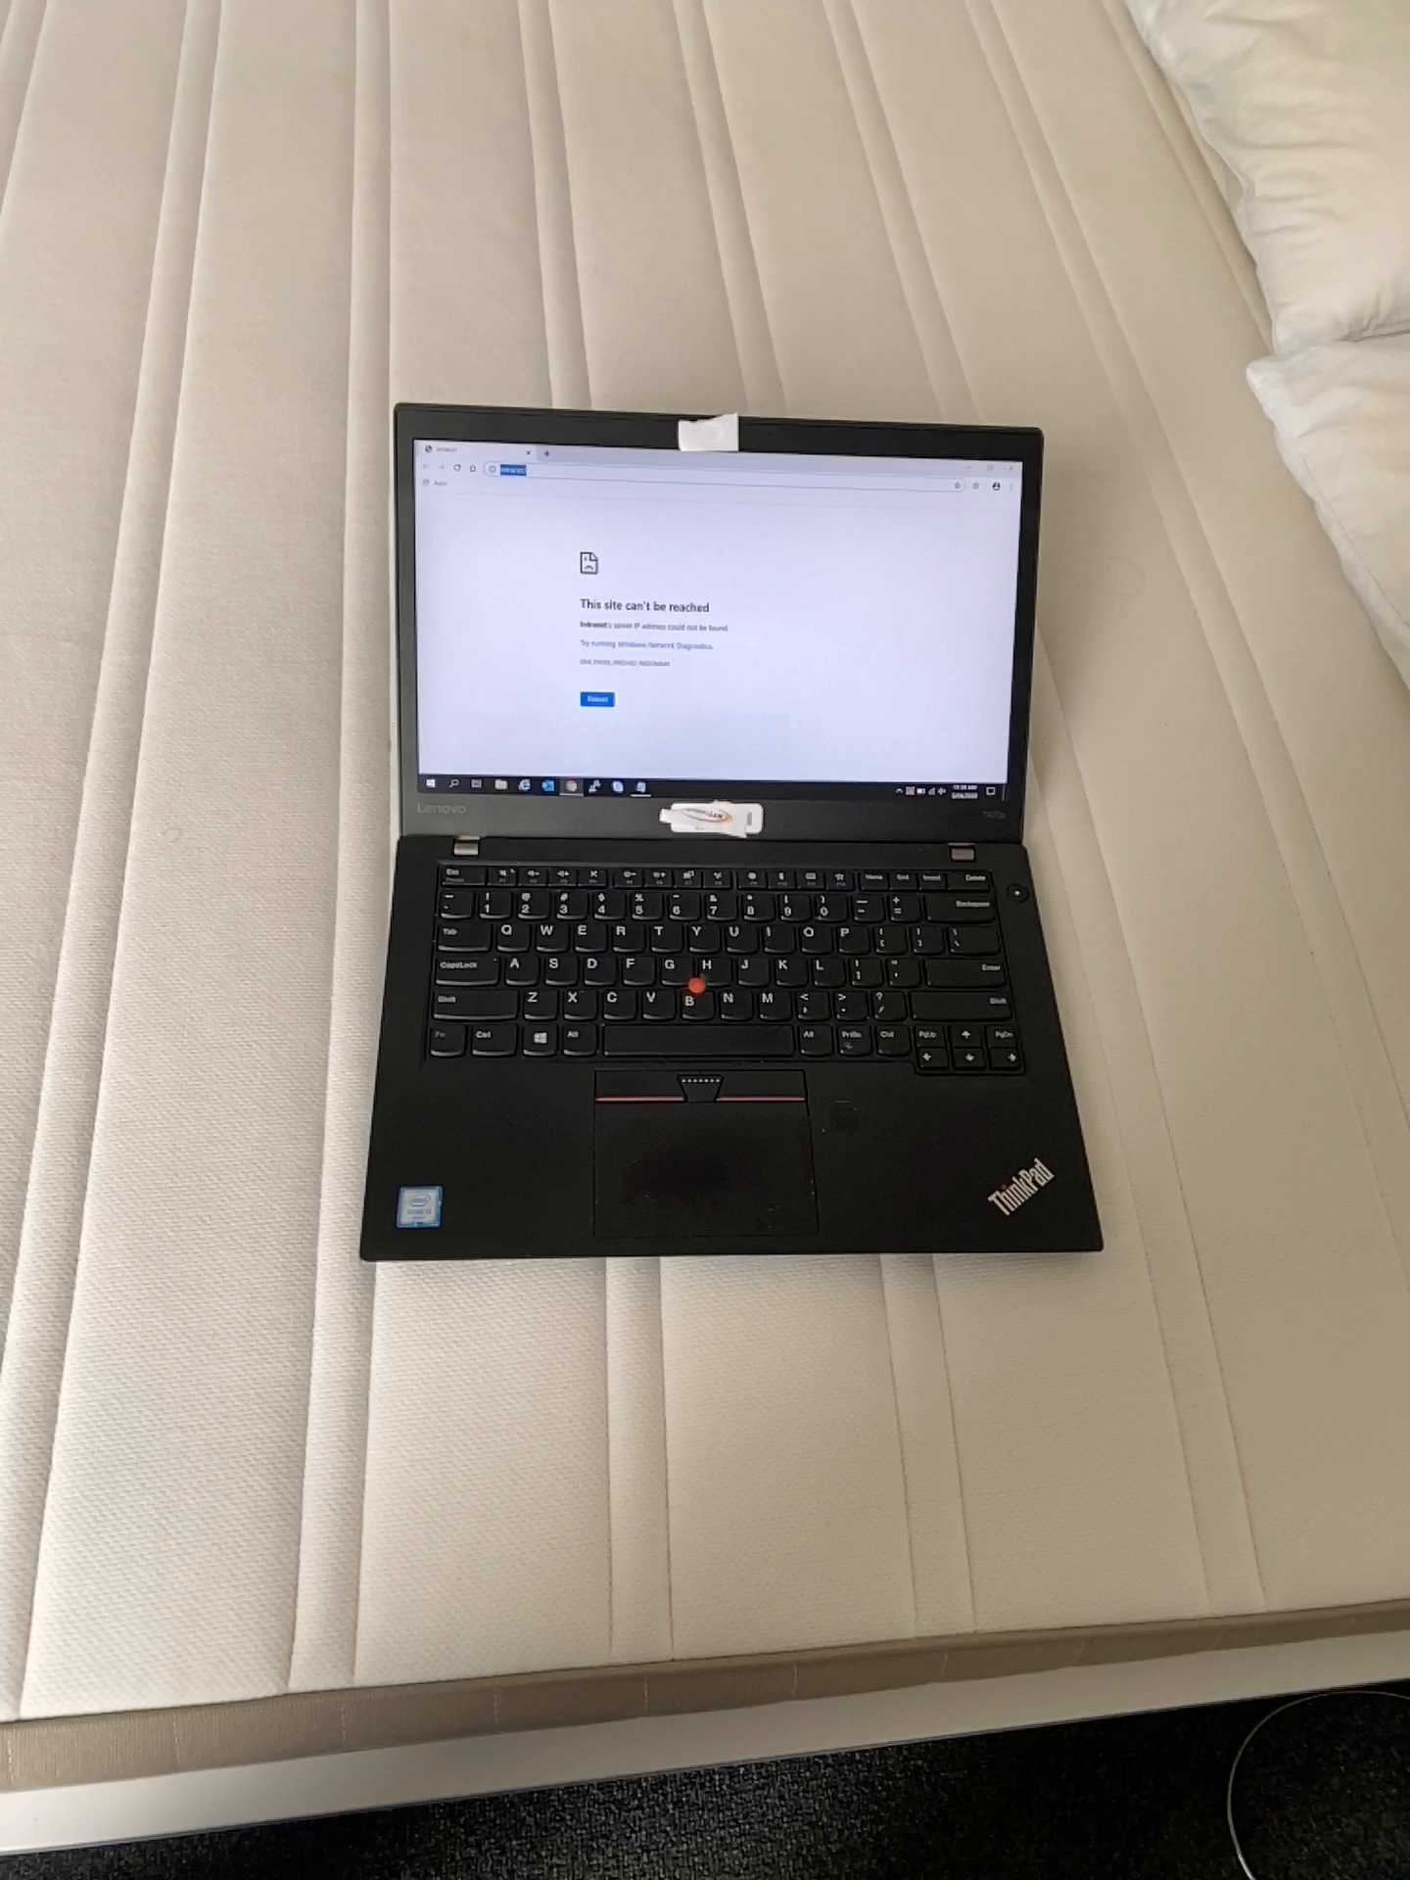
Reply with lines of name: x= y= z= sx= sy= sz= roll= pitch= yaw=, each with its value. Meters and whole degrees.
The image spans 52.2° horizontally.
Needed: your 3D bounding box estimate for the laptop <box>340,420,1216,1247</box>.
laptop: x=0.018 y=-0.059 z=0.672 sx=0.320 sy=0.120 sz=0.382 roll=1 pitch=57 yaw=-7
